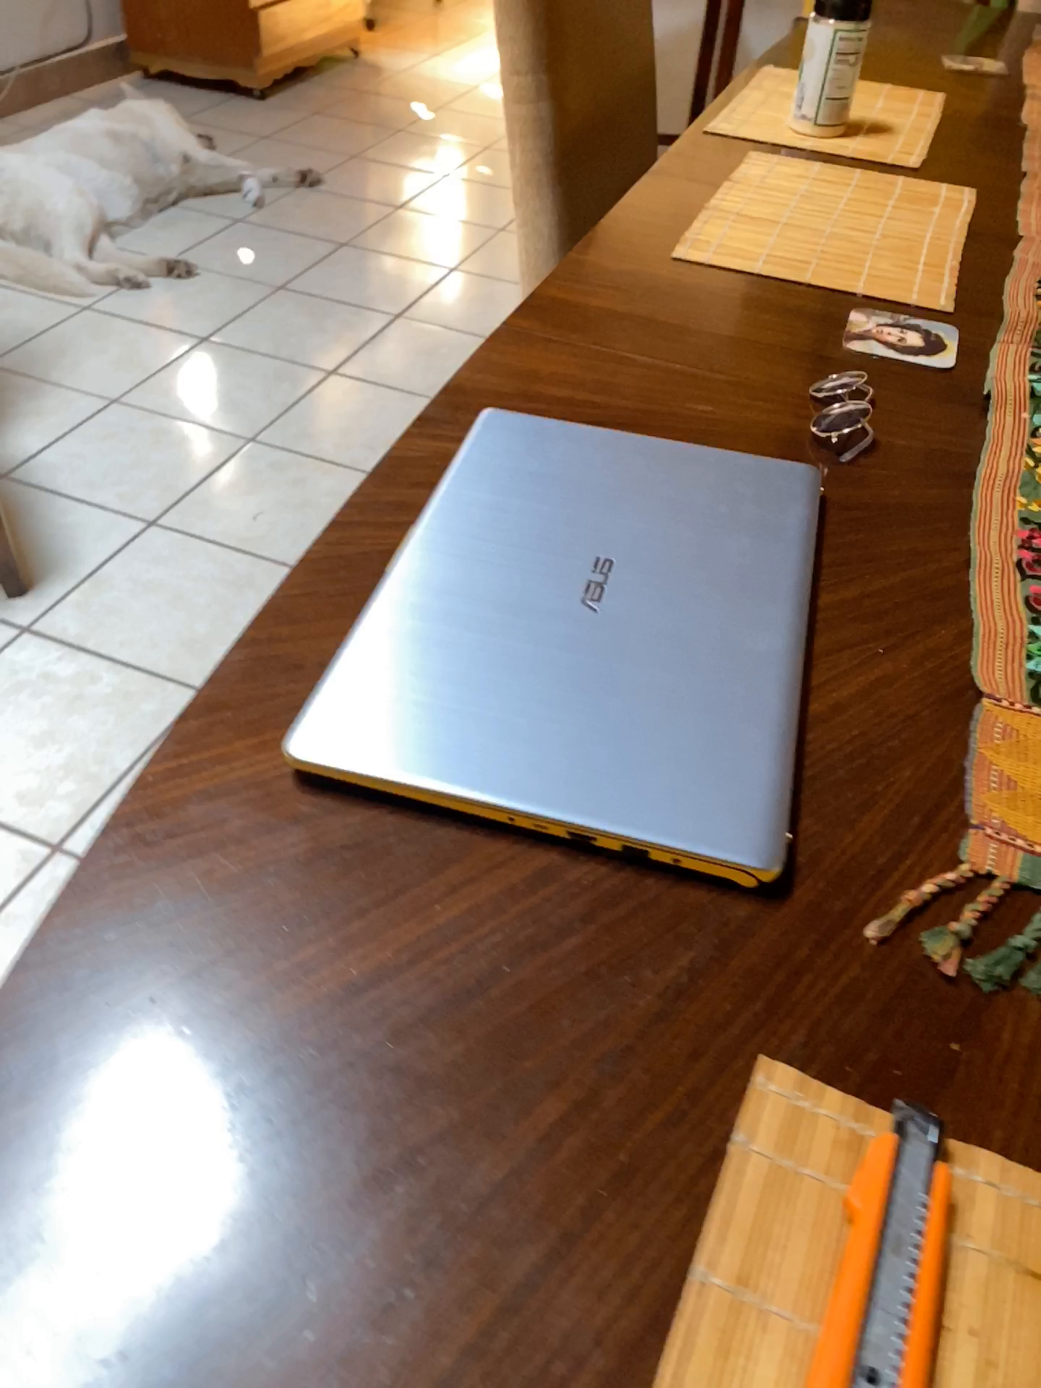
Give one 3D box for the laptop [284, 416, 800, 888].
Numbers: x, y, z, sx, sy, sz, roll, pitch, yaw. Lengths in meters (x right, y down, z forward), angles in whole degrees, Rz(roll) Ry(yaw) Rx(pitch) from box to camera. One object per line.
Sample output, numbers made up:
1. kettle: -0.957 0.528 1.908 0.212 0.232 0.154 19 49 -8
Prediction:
1. laptop: 0.042 -0.061 0.666 0.246 0.001 0.385 12 44 8
